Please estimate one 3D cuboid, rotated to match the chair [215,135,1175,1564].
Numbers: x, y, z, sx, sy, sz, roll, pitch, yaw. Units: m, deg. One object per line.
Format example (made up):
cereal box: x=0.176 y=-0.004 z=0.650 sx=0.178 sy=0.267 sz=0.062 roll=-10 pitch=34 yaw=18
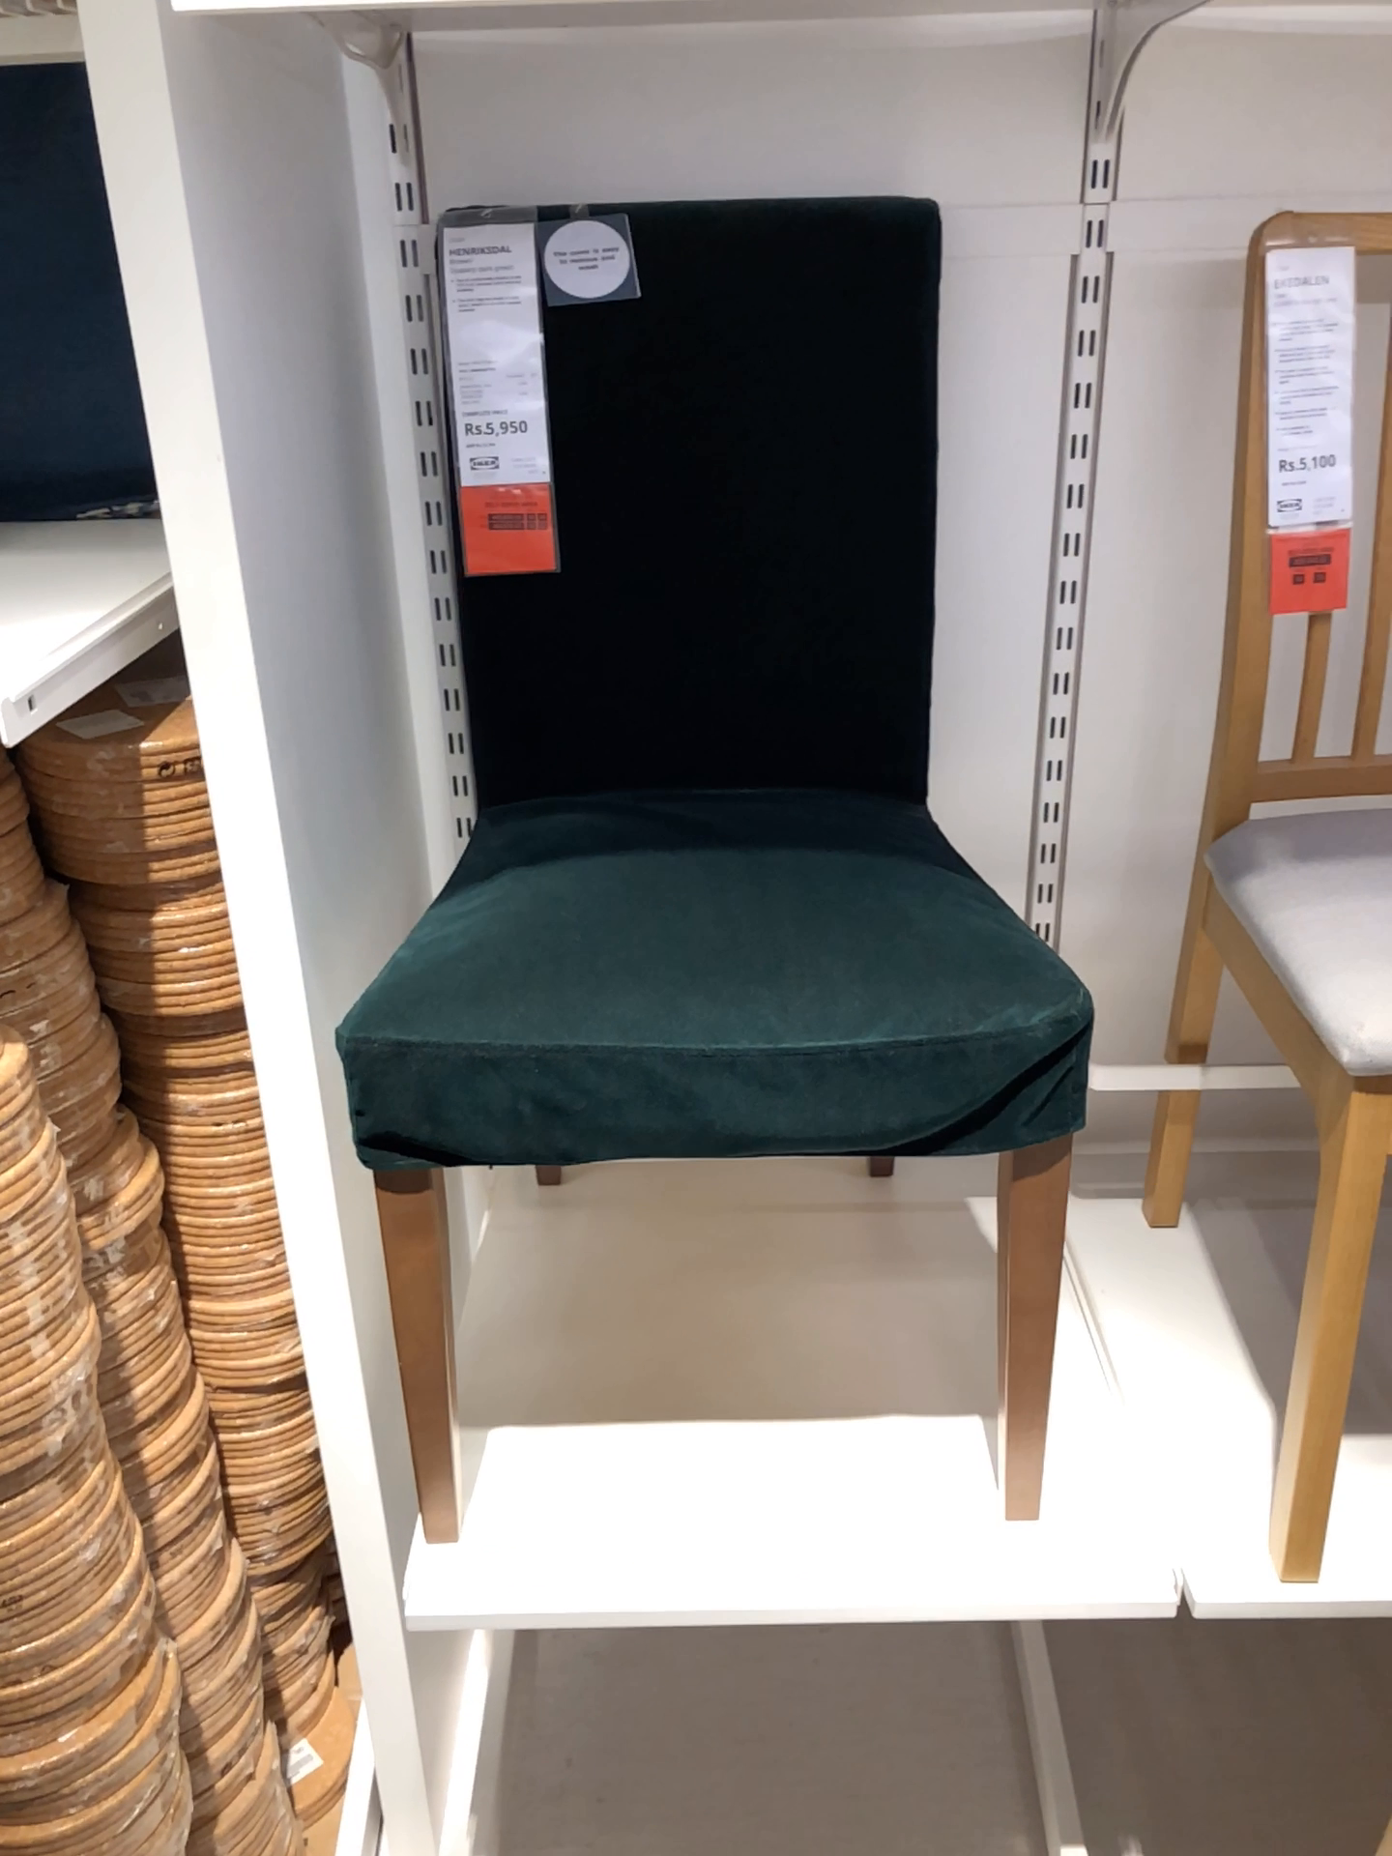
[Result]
chair: x=0.005 y=-0.069 z=1.167 sx=0.470 sy=0.915 sz=0.513 roll=-2 pitch=24 yaw=-1
